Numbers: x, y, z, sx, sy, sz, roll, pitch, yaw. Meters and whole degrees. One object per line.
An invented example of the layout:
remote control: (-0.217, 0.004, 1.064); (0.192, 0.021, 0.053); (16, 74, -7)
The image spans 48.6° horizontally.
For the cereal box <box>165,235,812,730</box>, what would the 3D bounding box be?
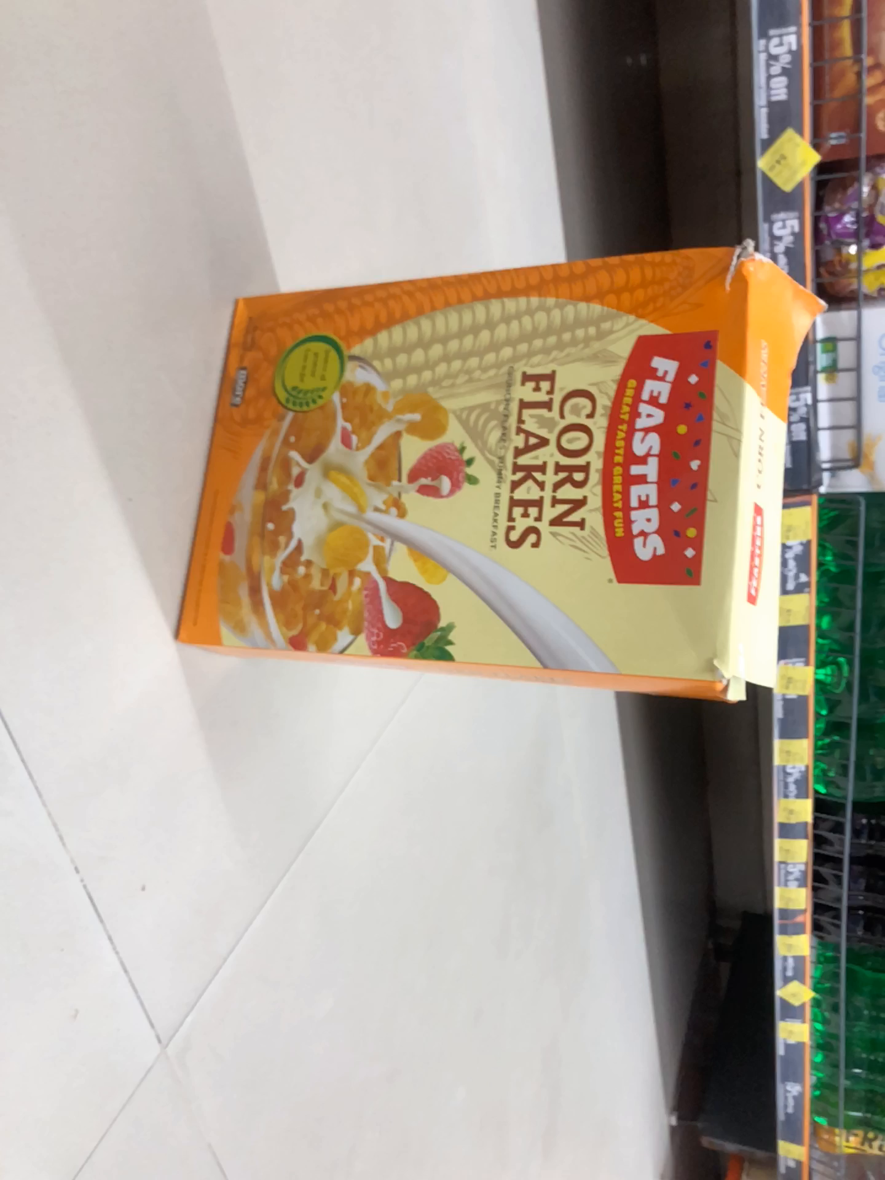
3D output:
cereal box: (0.021, -0.045, 0.445); (0.060, 0.268, 0.190); (36, 58, -65)
